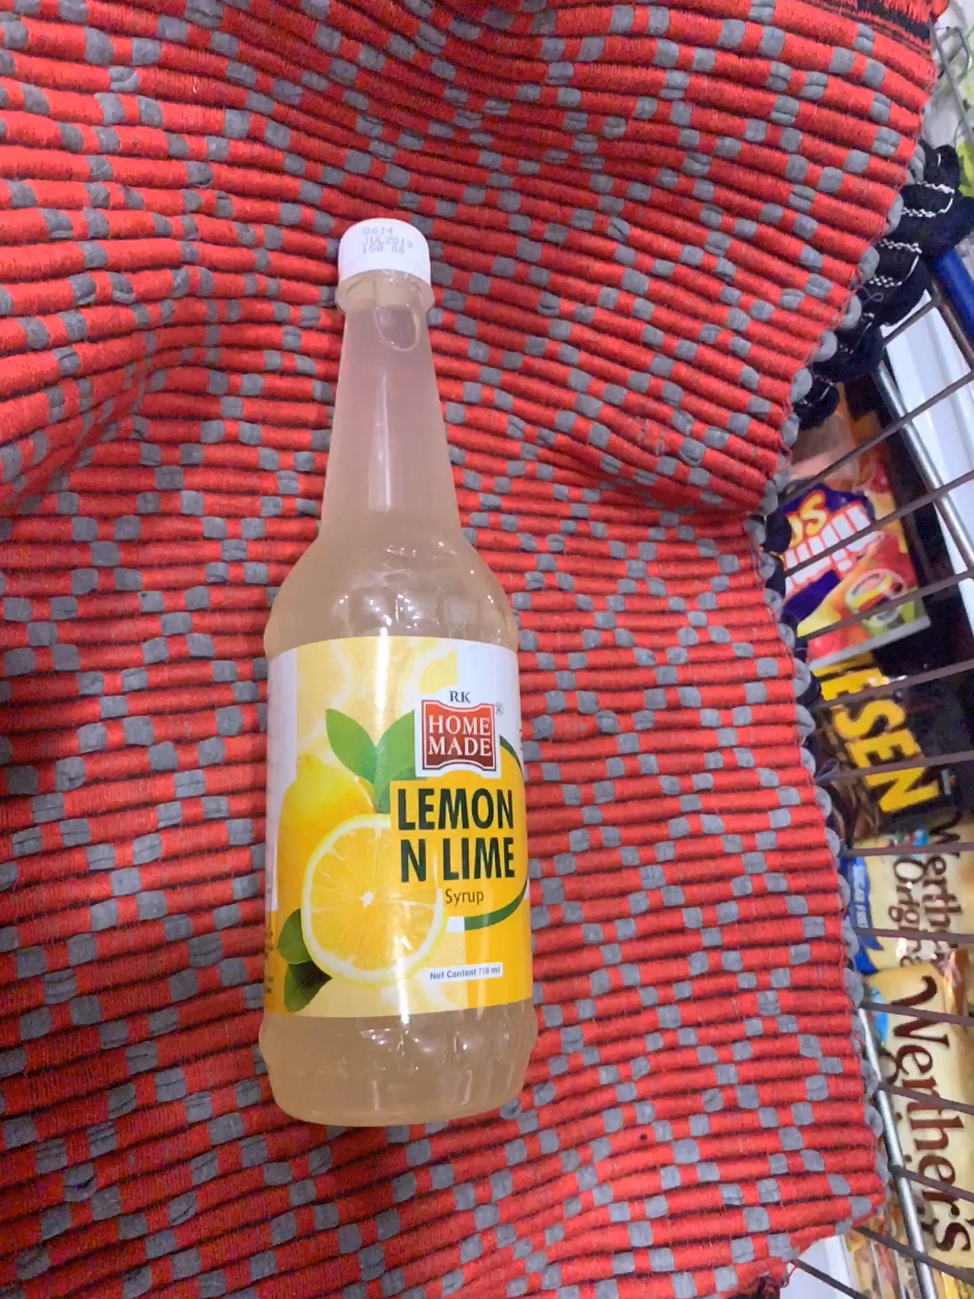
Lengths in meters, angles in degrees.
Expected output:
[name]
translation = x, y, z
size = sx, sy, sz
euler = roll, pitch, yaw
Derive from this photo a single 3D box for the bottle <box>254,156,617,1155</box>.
[bottle]
translation = -0.024, -0.005, 0.296
size = 0.070, 0.070, 0.260
euler = 4, 71, -25
